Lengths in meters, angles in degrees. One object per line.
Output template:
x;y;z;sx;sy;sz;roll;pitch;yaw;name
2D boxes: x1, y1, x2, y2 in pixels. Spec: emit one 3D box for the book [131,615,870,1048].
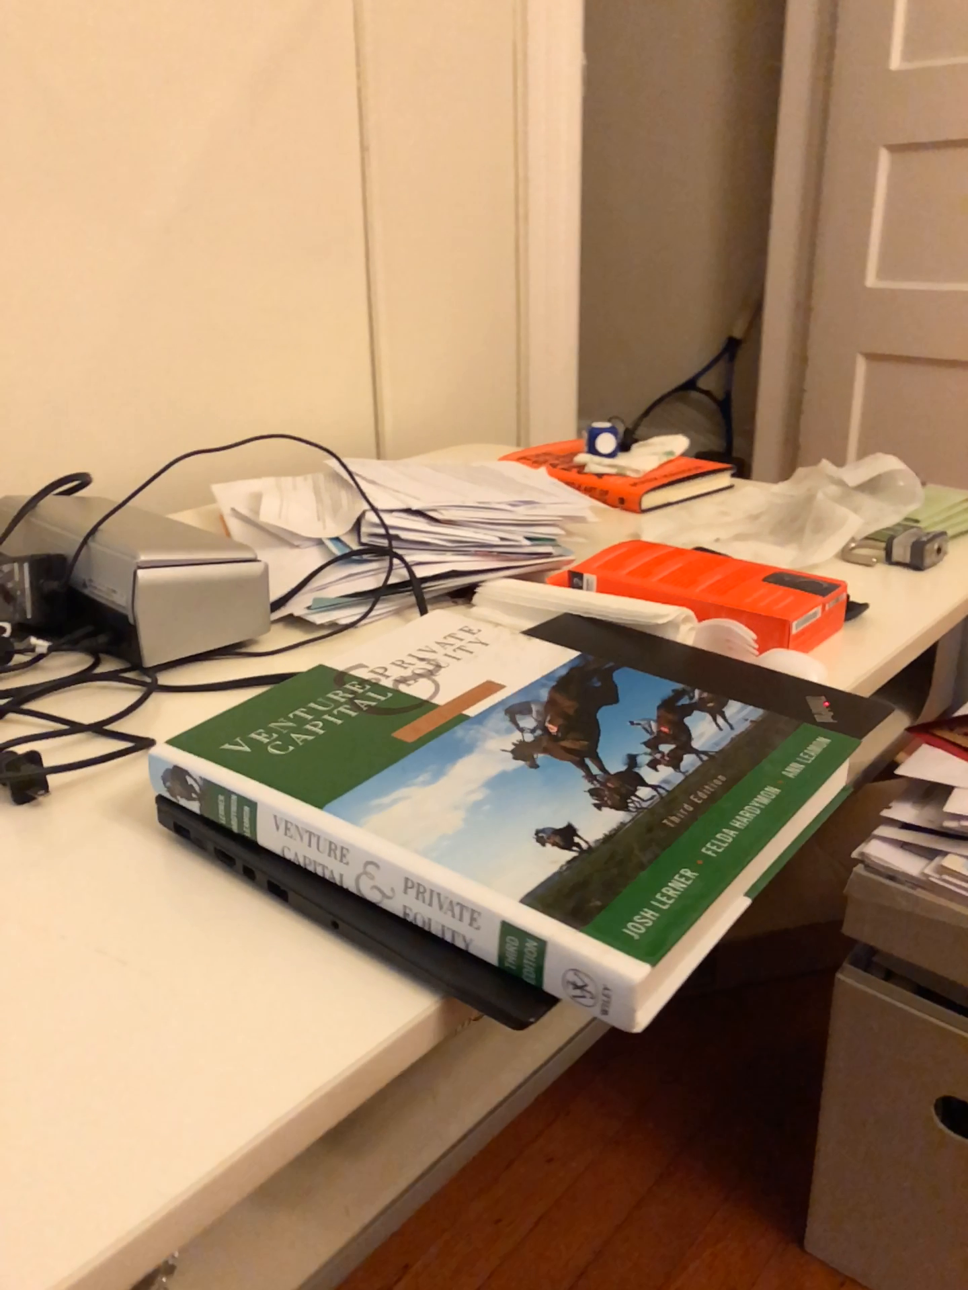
0.010;0.058;0.507;0.270;0.030;0.221;15;26;34;book
